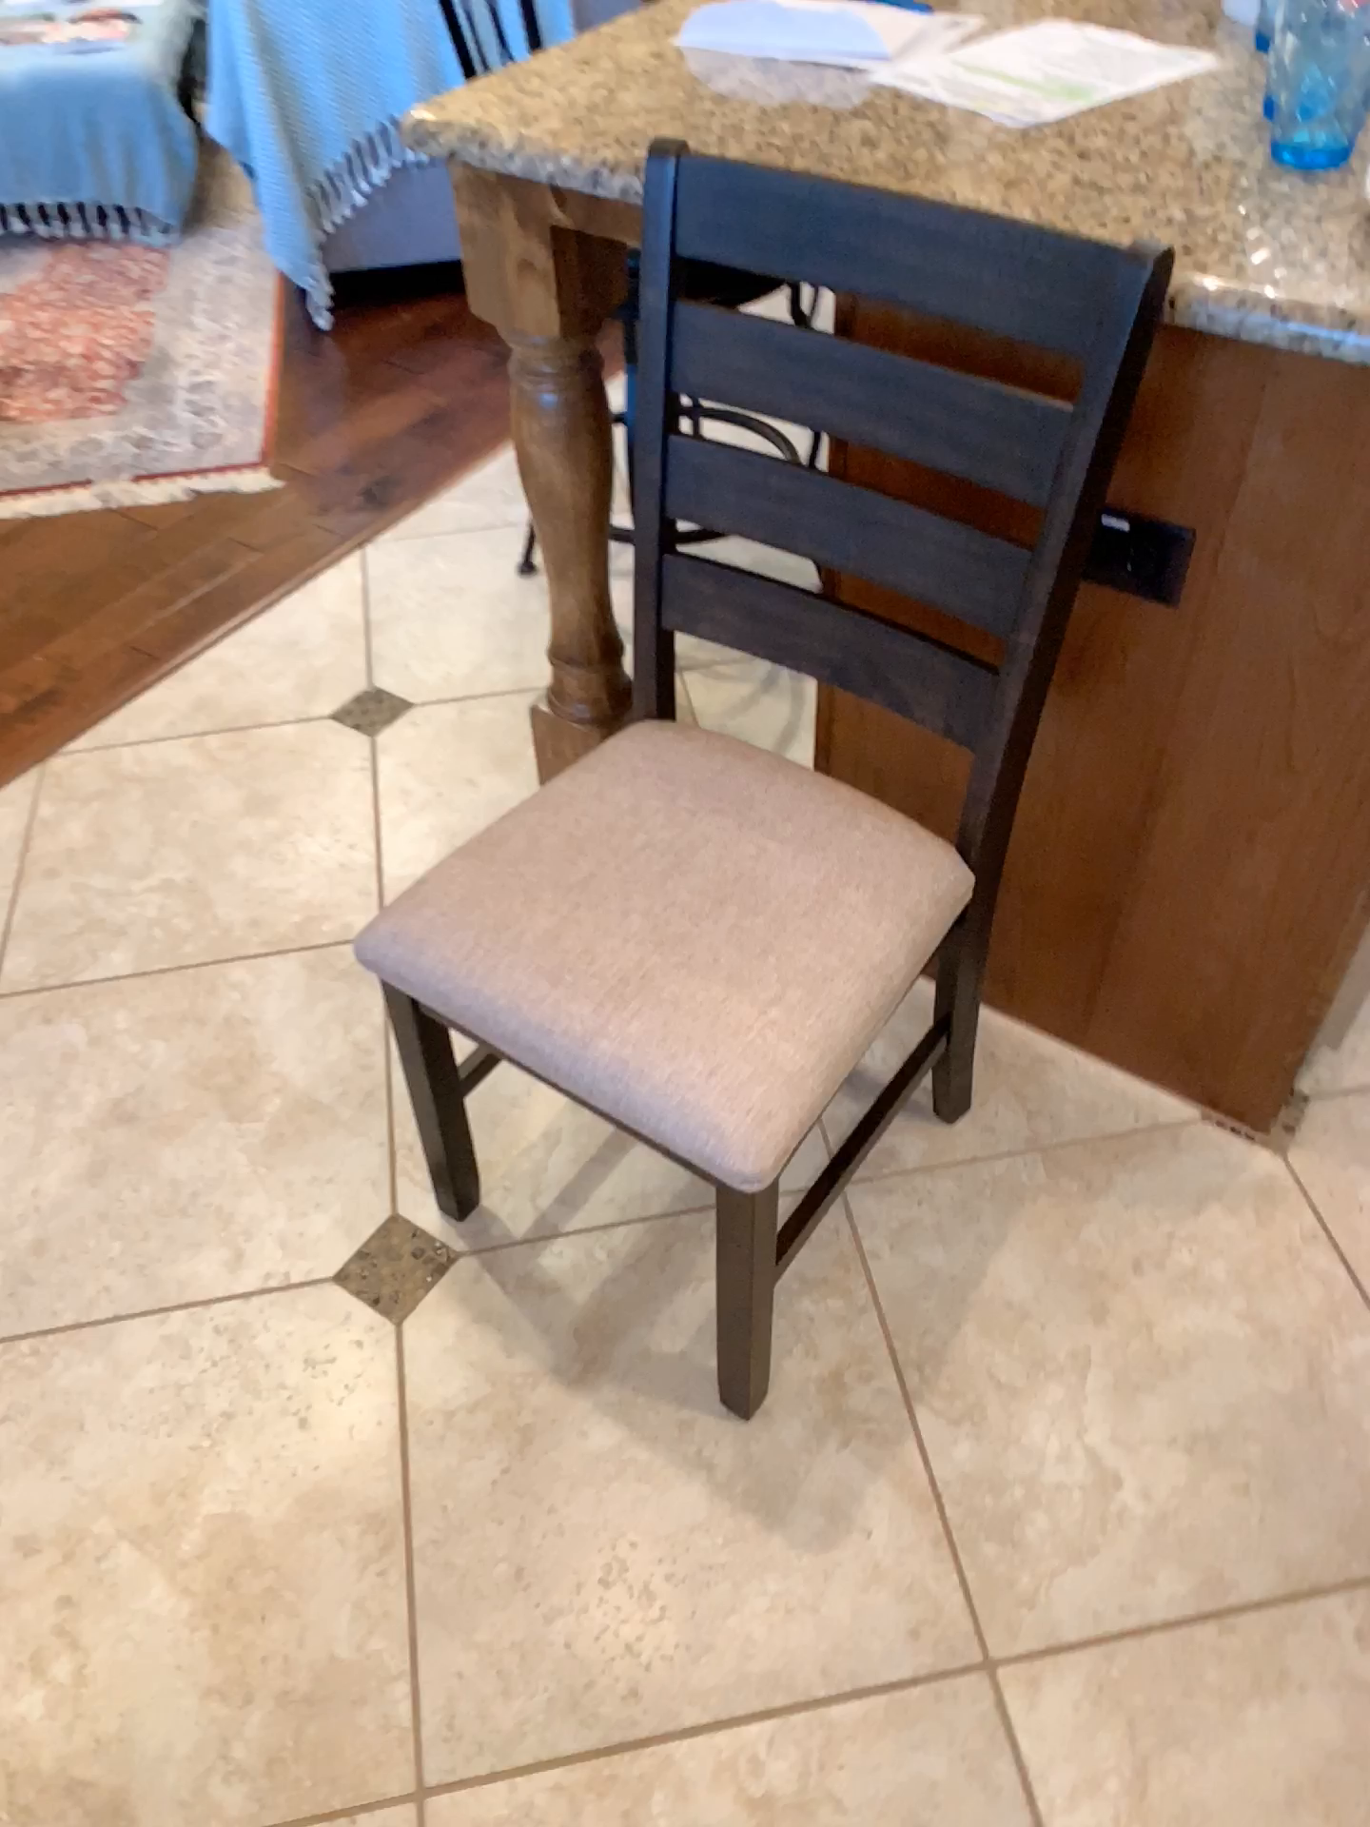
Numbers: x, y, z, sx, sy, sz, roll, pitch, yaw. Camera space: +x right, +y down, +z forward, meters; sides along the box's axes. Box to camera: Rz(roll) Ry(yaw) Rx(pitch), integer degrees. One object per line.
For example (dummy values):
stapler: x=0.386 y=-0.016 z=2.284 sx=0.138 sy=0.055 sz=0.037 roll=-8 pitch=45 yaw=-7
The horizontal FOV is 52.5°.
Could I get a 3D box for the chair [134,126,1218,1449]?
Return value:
chair: x=0.028 y=-0.068 z=1.204 sx=0.468 sy=0.910 sz=0.525 roll=26 pitch=53 yaw=25
